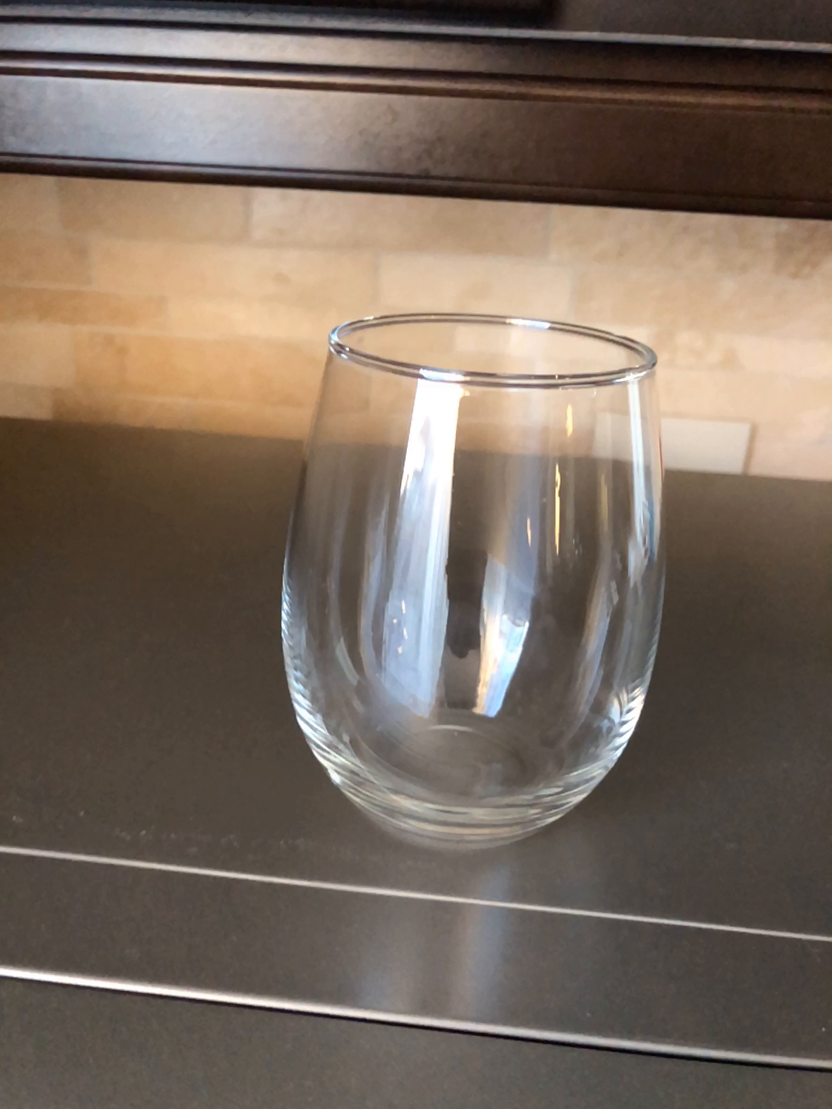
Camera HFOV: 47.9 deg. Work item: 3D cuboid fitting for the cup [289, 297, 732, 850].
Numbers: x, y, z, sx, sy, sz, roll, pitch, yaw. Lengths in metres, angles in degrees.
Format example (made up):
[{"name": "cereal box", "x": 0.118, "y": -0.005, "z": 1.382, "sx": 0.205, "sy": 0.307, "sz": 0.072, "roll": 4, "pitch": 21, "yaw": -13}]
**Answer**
[{"name": "cup", "x": 0.013, "y": 0.000, "z": 0.223, "sx": 0.078, "sy": 0.104, "sz": 0.083, "roll": 2, "pitch": 23, "yaw": -1}]
